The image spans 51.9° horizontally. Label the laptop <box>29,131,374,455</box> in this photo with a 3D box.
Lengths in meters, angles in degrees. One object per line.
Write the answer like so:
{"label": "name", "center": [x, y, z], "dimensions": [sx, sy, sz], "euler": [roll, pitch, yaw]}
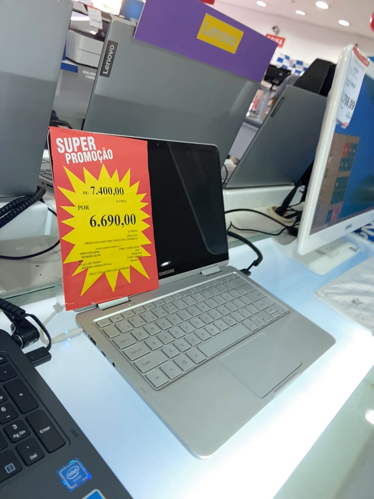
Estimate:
{"label": "laptop", "center": [0.032, 0.001, 0.484], "dimensions": [0.310, 0.170, 0.306], "euler": [36, 30, 32]}
